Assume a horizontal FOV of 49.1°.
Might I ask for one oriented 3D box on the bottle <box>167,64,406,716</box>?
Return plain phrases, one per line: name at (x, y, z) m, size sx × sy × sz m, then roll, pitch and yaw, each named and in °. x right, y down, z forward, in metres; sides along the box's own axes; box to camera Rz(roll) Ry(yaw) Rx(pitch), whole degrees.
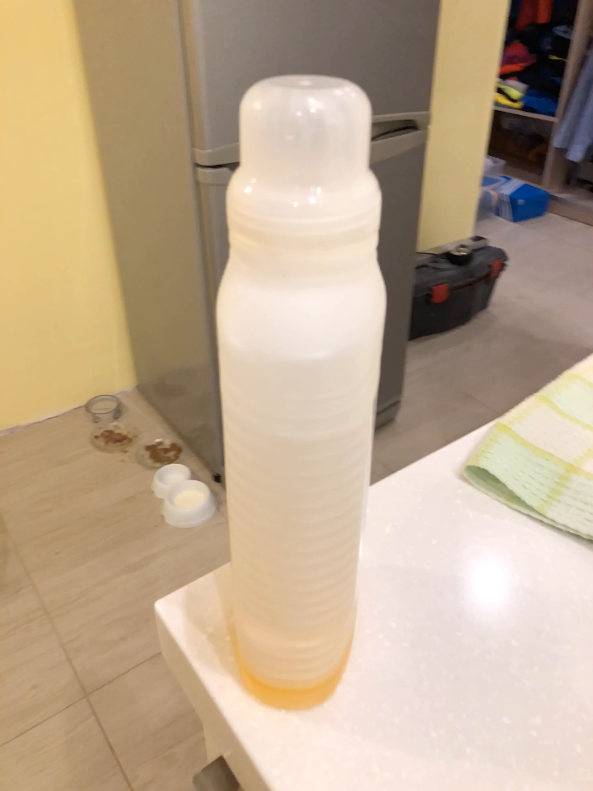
bottle at (0.002, 0.012, 0.280) m, size 0.061 × 0.264 × 0.102 m, roll 4°, pitch 34°, yaw 5°
